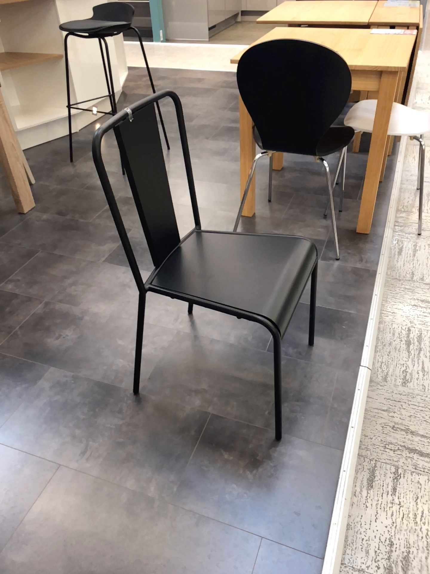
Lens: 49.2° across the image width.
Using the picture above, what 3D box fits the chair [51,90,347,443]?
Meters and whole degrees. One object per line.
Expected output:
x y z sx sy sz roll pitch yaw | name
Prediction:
0.005 -0.059 1.341 0.570 0.815 0.443 11 39 17 | chair
